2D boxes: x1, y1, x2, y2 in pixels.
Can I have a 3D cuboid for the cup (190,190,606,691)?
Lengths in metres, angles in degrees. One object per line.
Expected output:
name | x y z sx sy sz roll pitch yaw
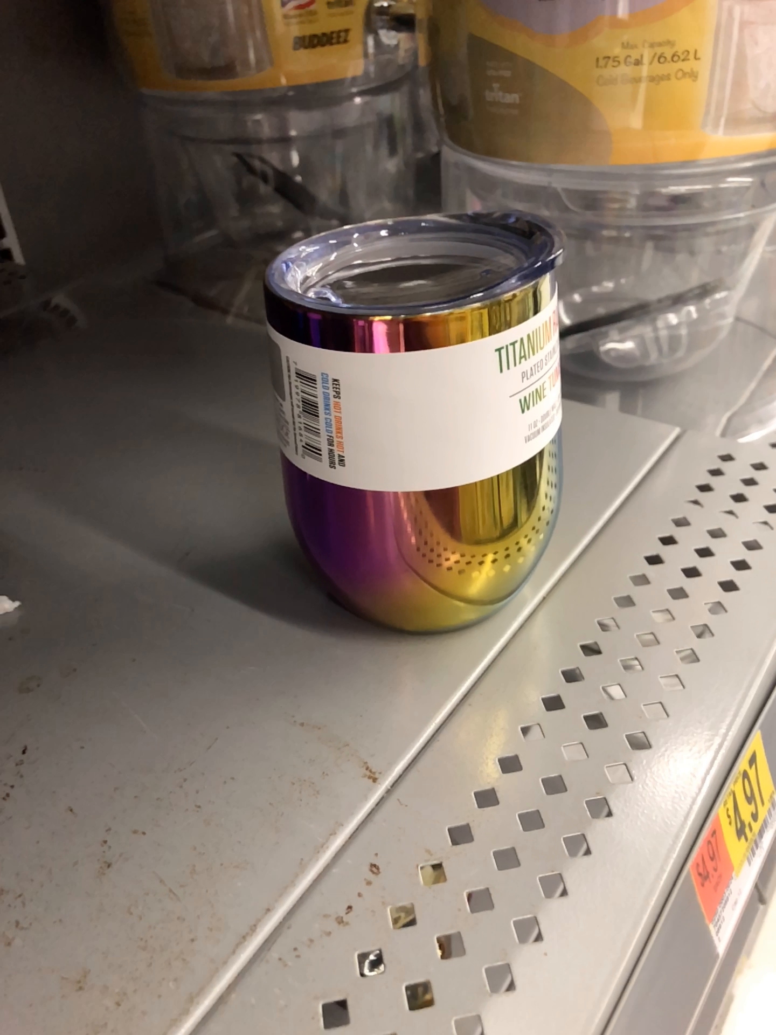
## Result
cup | 0.008 -0.027 0.262 0.076 0.108 0.086 19 41 27
